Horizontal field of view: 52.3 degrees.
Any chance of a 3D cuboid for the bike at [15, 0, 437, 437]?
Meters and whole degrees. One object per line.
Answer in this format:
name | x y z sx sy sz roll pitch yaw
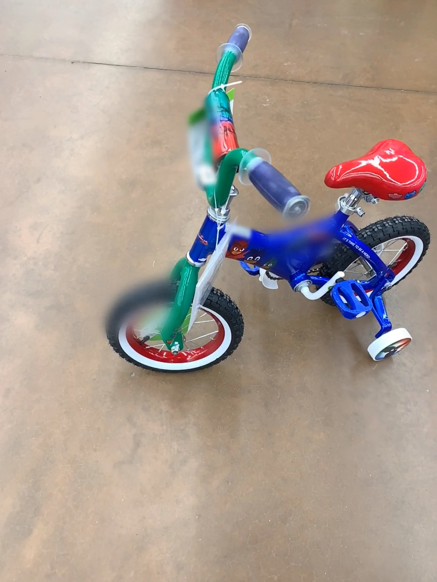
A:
bike | 0.139 -0.143 0.890 0.775 0.670 0.461 -14 58 -14
